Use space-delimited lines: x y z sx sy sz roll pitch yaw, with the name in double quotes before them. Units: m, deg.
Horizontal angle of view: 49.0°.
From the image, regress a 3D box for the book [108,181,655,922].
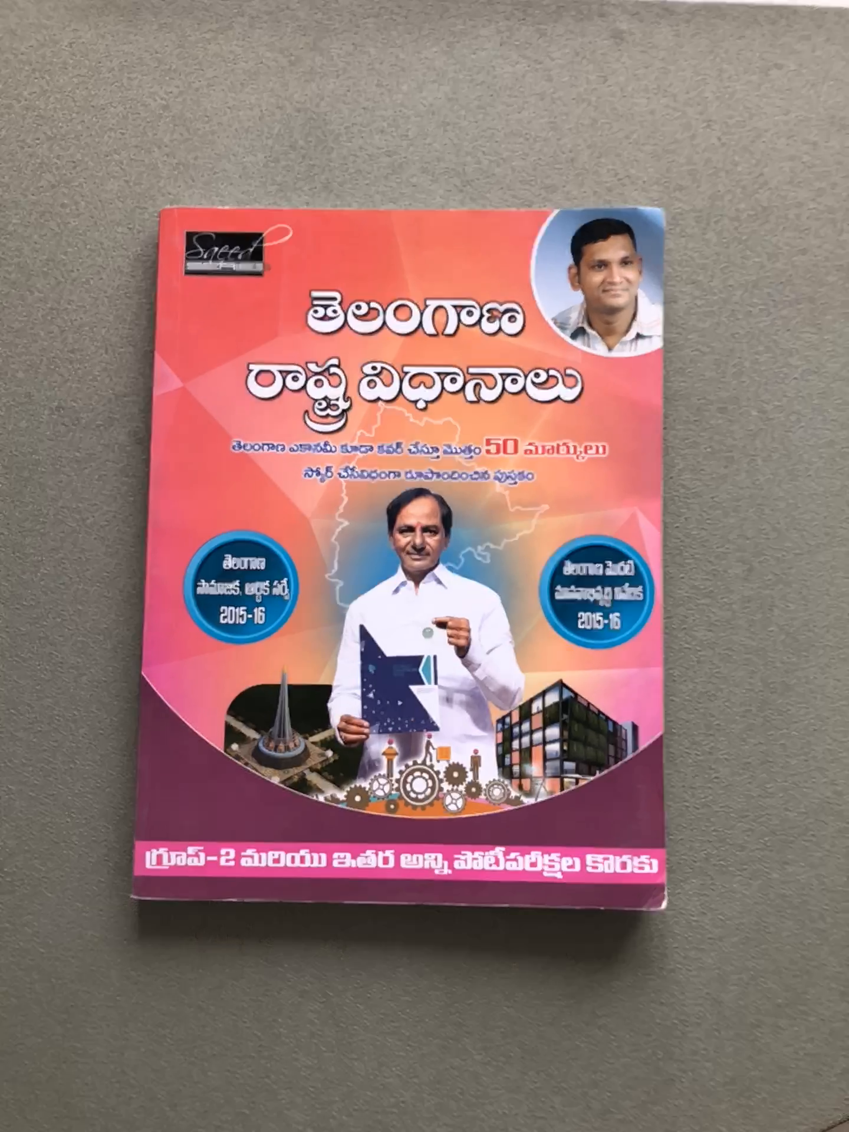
"book" -0.012 -0.008 0.333 0.180 0.030 0.250 1 85 0
